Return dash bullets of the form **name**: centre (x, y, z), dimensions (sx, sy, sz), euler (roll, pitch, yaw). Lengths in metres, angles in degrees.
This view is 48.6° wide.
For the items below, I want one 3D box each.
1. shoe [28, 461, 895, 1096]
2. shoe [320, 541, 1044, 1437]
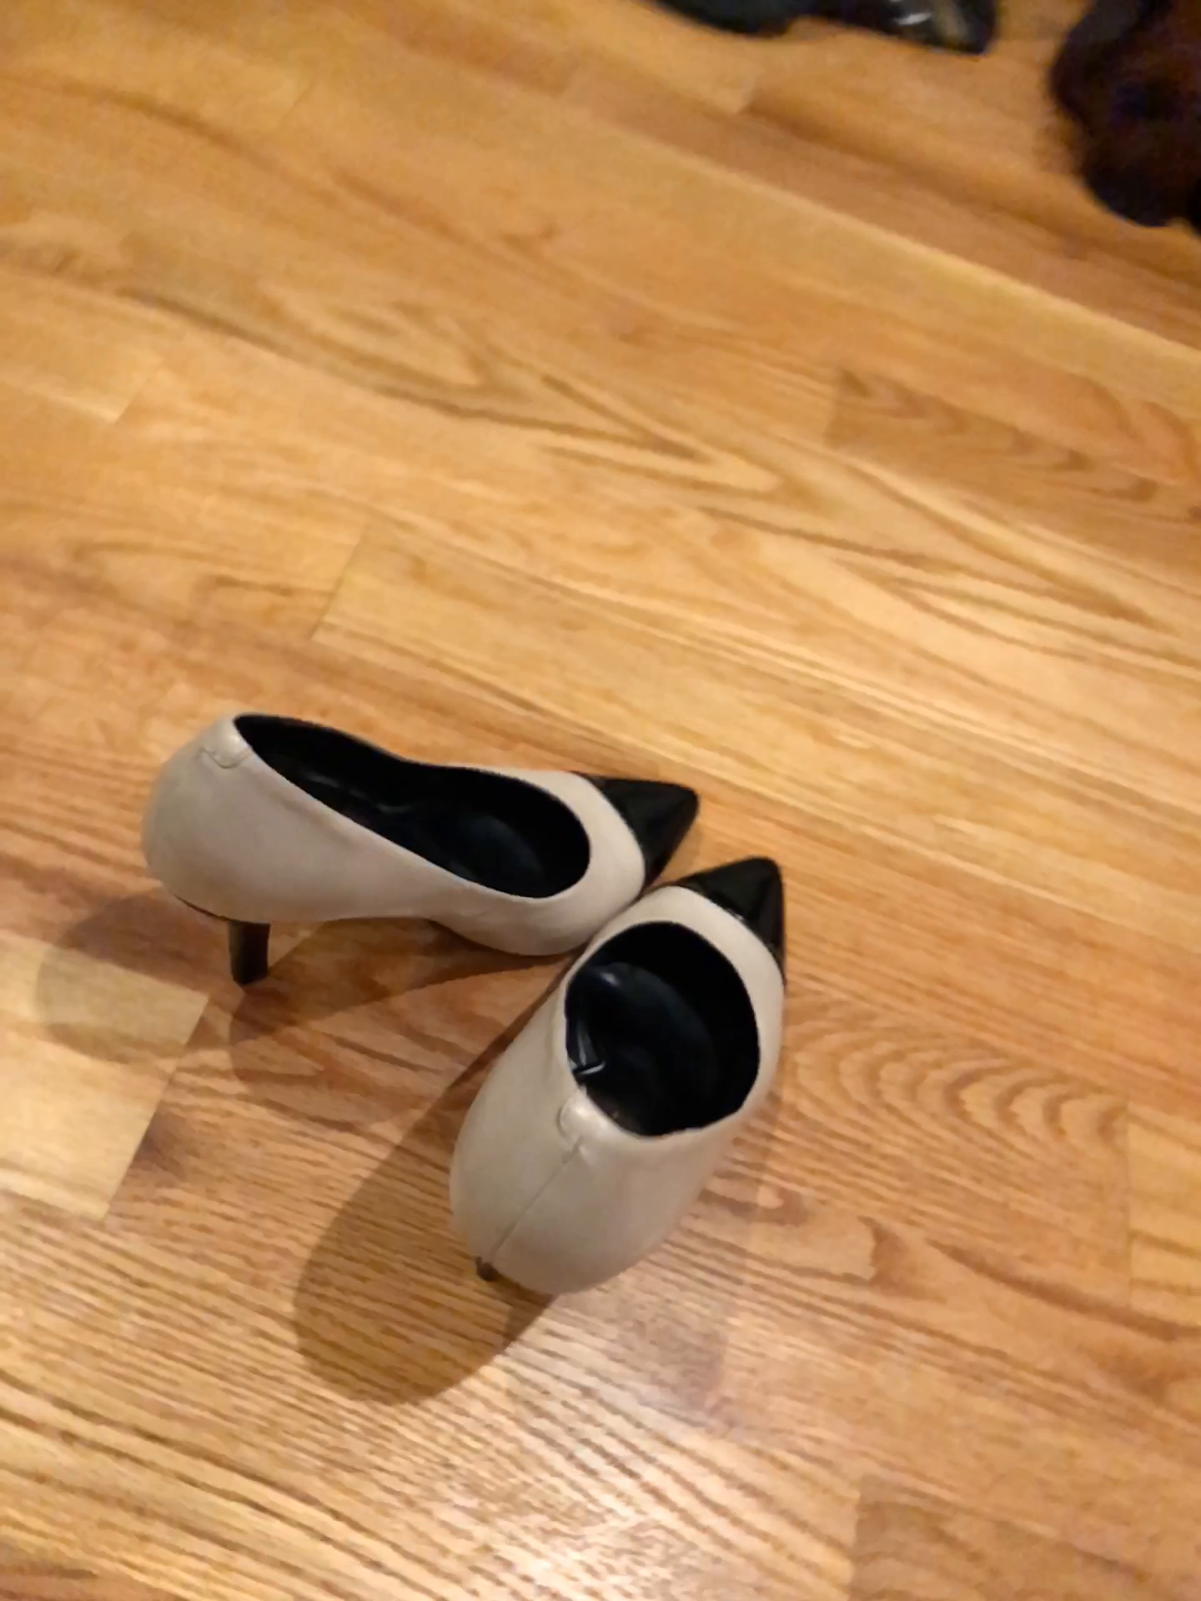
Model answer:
- **shoe**: centre (-0.045, -0.012, 0.431), dimensions (0.235, 0.139, 0.085), euler (-17, 62, -29)
- **shoe**: centre (0.029, 0.050, 0.410), dimensions (0.085, 0.139, 0.236), euler (34, 51, 7)
